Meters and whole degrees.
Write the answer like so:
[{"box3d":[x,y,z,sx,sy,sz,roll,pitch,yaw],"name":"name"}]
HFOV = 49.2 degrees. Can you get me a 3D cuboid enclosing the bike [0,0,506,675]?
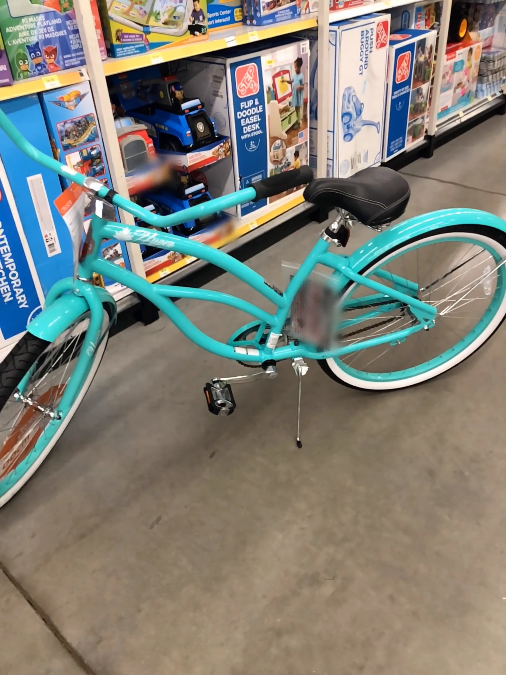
[{"box3d":[0.024,-0.046,1.271,1.492,1.143,0.762,-20,38,-15],"name":"bike"}]
